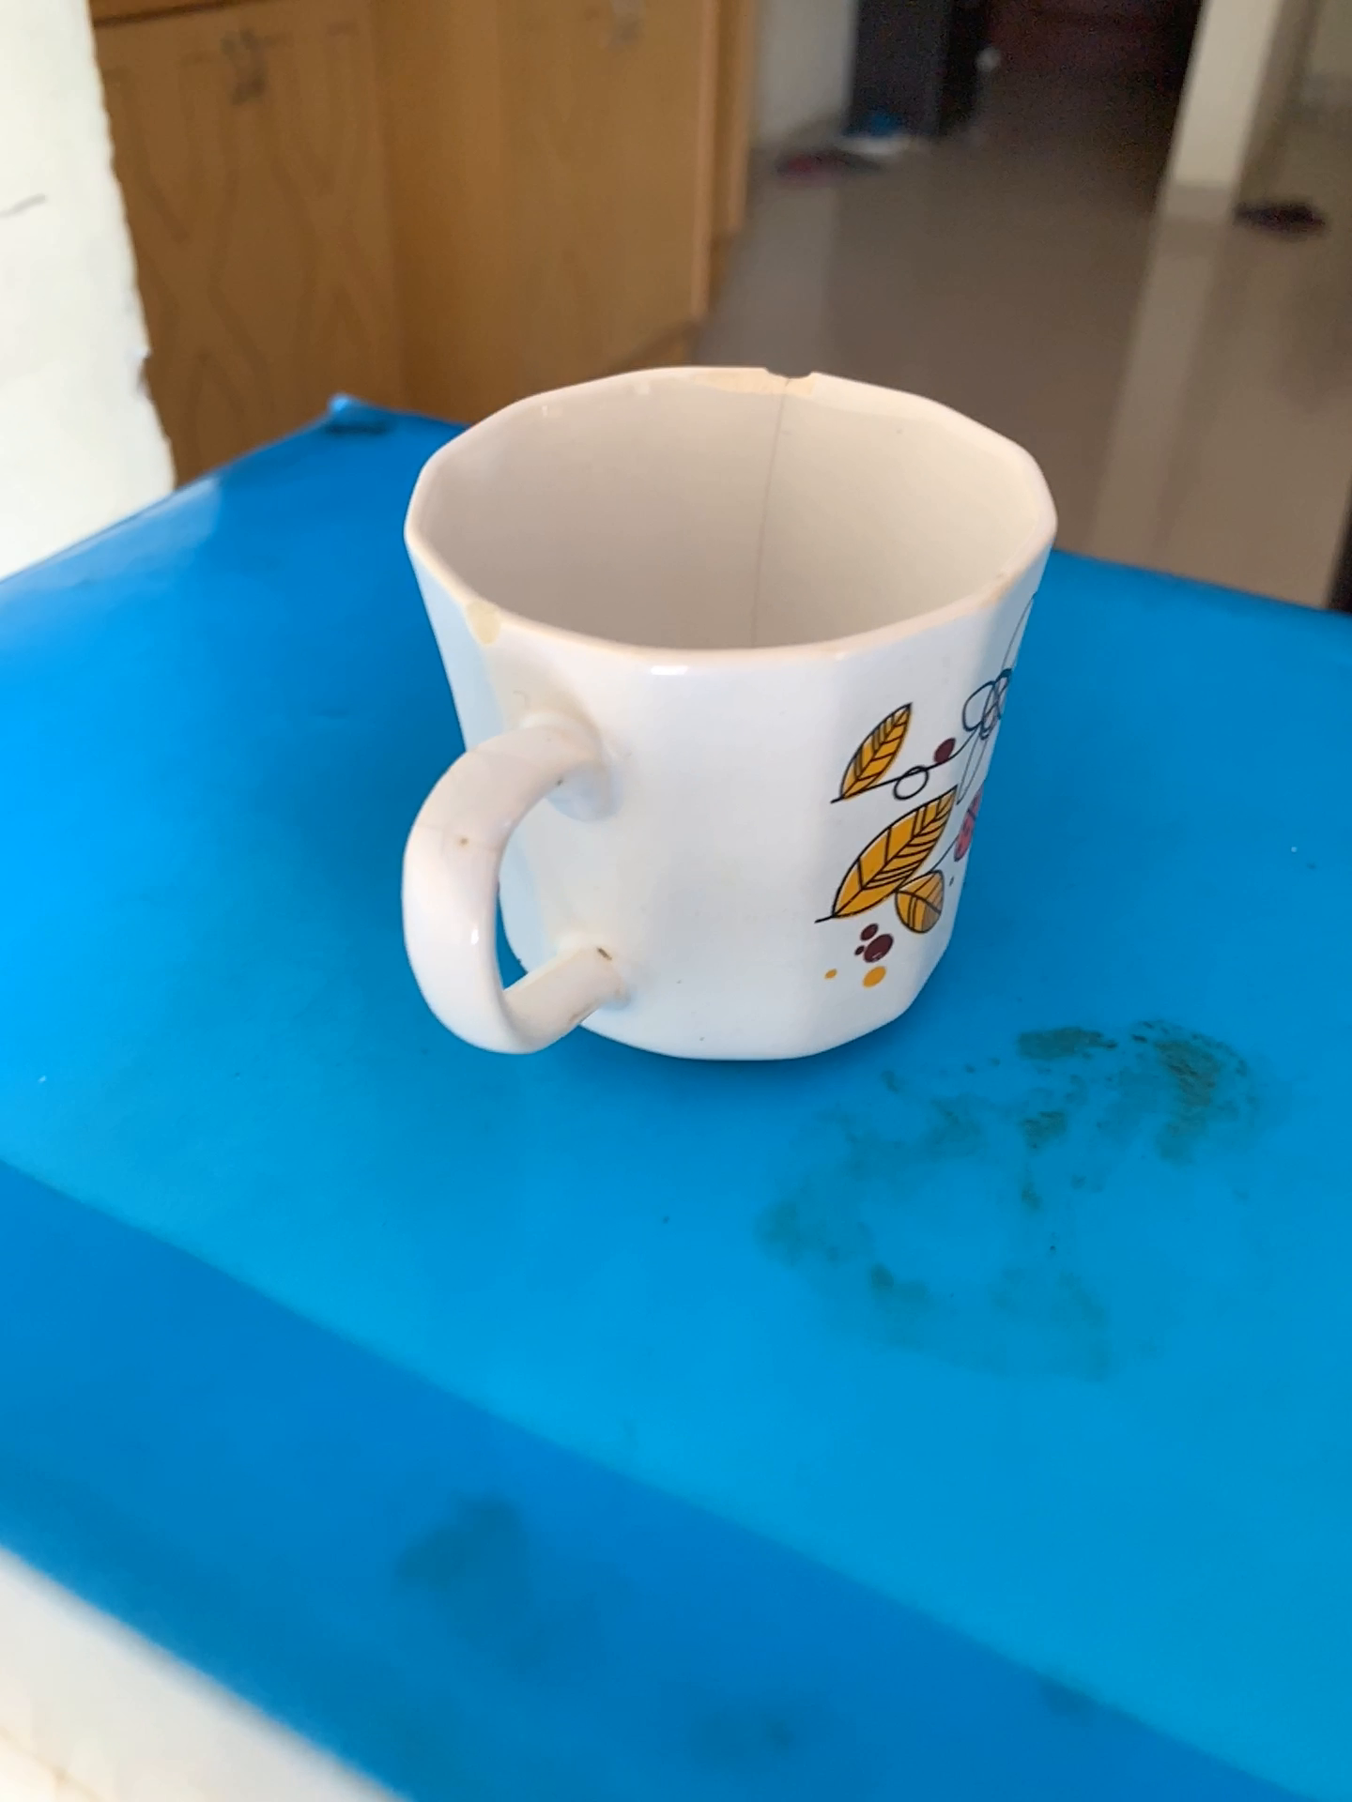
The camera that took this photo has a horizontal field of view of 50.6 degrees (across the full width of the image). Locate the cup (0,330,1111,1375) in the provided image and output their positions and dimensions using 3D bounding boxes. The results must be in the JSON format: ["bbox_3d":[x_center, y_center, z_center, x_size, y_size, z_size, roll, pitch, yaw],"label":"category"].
[{"bbox_3d":[-0.009,-0.017,0.164,0.070,0.060,0.101,26,43,27],"label":"cup"}]
